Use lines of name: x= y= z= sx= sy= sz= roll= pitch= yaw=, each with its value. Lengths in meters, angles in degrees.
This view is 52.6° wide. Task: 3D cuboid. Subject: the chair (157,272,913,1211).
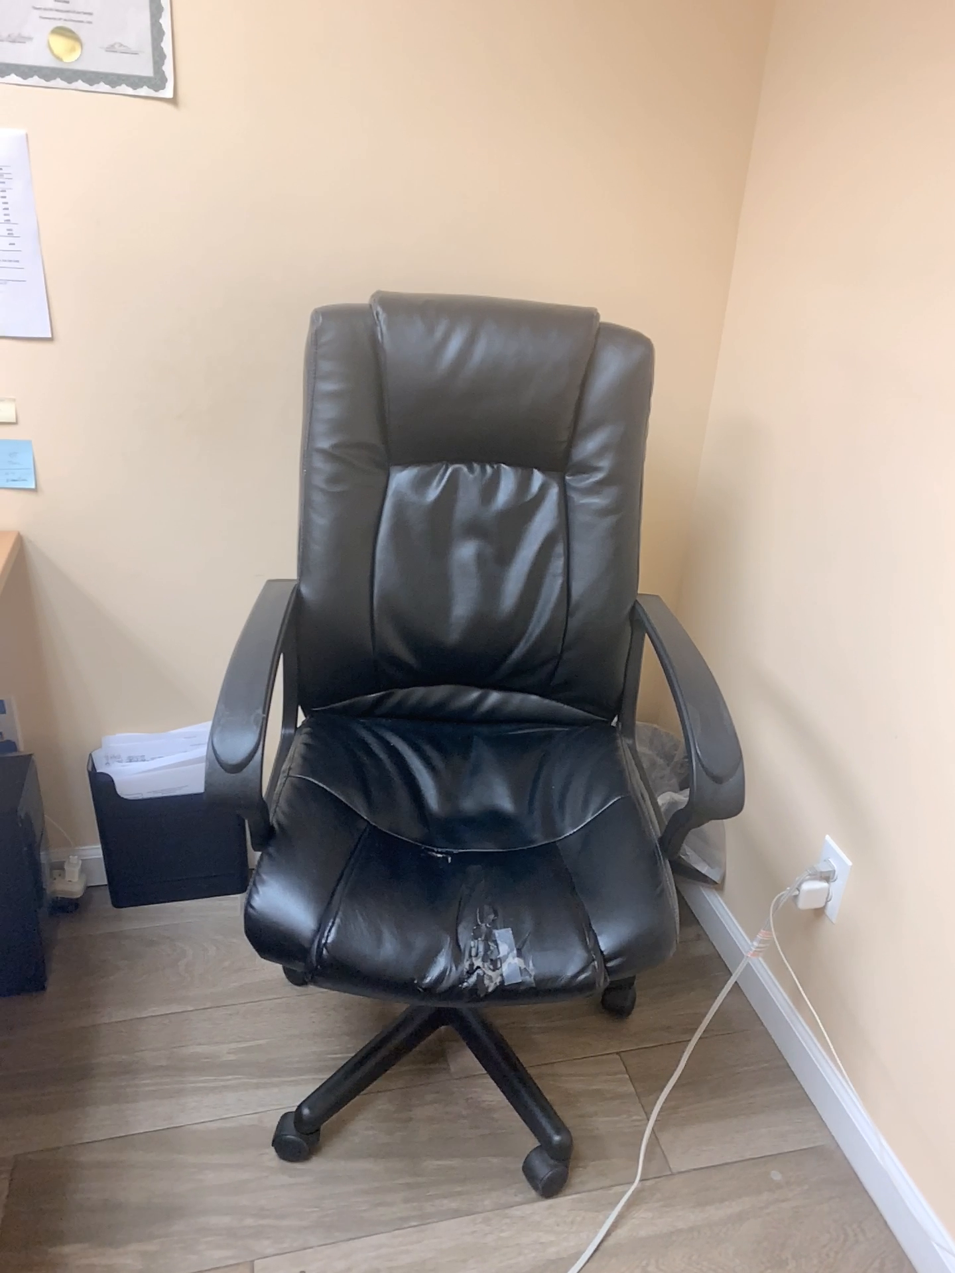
chair: x=0.016 y=0.121 z=1.335 sx=0.648 sy=1.083 sz=0.630 roll=3 pitch=25 yaw=-2
